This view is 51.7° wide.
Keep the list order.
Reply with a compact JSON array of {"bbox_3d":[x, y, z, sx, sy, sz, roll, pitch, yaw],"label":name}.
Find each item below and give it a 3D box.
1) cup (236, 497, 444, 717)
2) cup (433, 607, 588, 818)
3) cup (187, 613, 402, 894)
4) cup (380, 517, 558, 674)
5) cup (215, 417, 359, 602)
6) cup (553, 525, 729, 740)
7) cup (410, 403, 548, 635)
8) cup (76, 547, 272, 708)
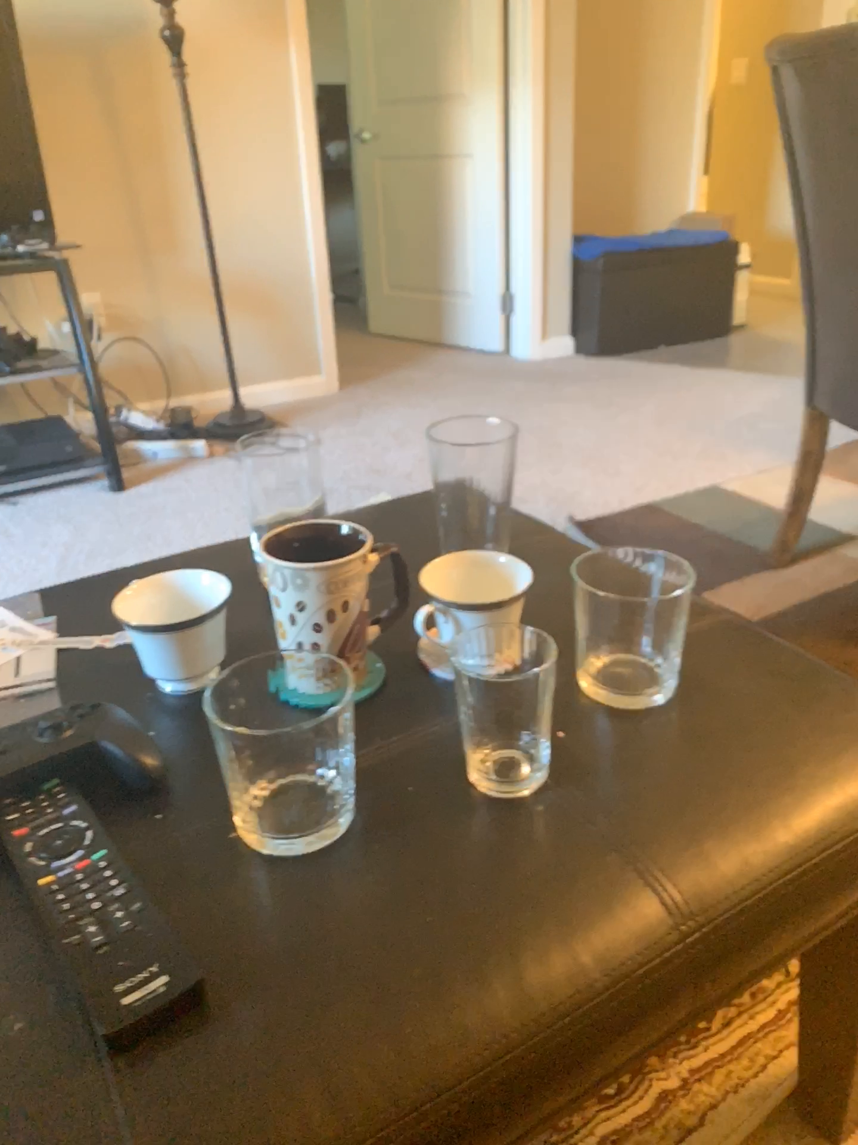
[{"bbox_3d":[-0.069,0.023,0.714,0.130,0.119,0.090,-17,29,-28],"label":"cup"},{"bbox_3d":[0.054,0.090,0.589,0.070,0.099,0.070,-2,25,1],"label":"cup"},{"bbox_3d":[-0.083,0.109,0.557,0.090,0.119,0.090,-2,25,1],"label":"cup"},{"bbox_3d":[0.033,0.014,0.718,0.110,0.070,0.090,-22,31,-34],"label":"cup"},{"bbox_3d":[-0.134,-0.064,0.850,0.090,0.139,0.090,-2,25,1],"label":"cup"},{"bbox_3d":[0.161,0.043,0.691,0.090,0.119,0.090,-2,25,1],"label":"cup"},{"bbox_3d":[0.050,-0.054,0.858,0.090,0.189,0.090,-2,25,1],"label":"cup"},{"bbox_3d":[-0.204,0.041,0.720,0.110,0.080,0.090,9,28,24],"label":"cup"}]
